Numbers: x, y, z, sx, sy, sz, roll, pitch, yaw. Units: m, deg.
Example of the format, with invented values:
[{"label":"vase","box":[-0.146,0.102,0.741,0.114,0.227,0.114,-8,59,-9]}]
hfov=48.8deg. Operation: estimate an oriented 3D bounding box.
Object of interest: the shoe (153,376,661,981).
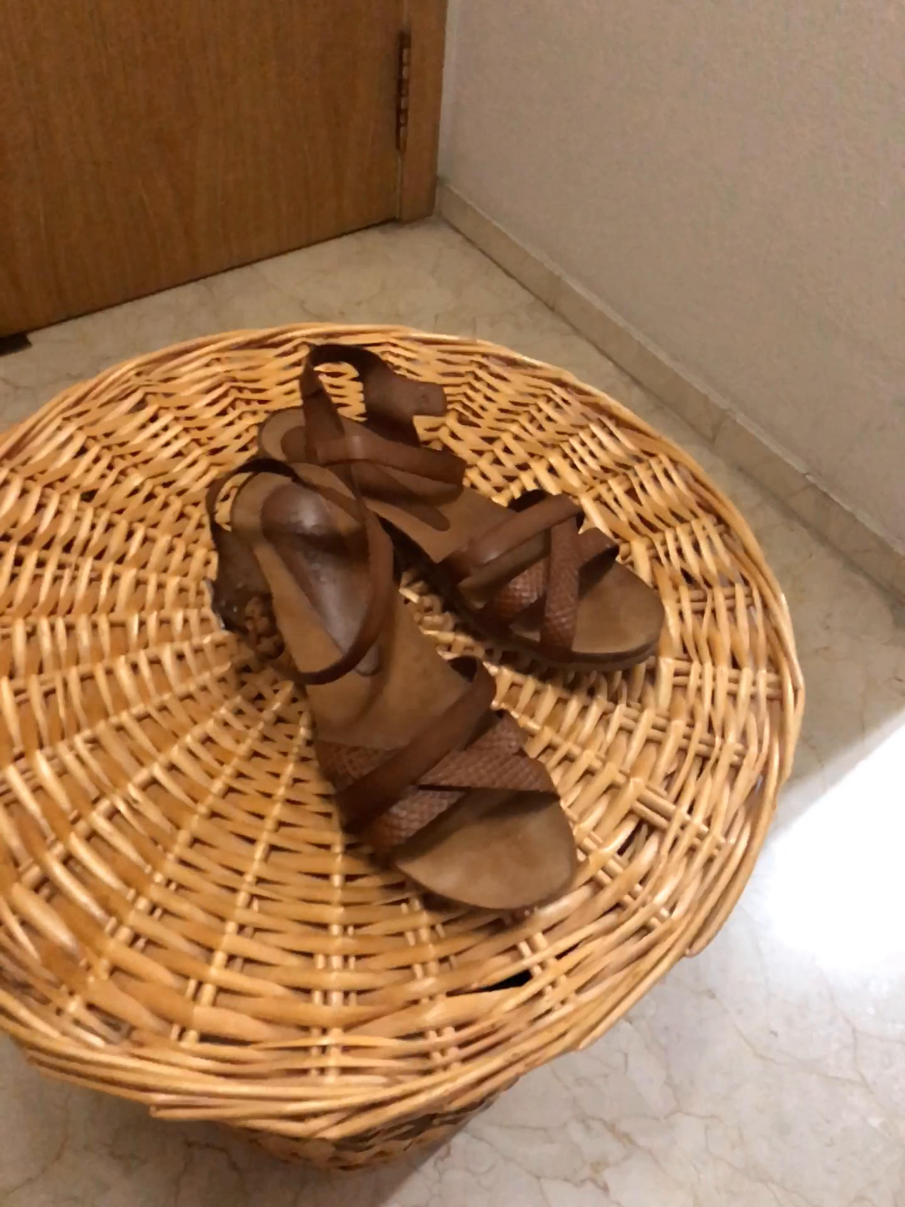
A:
[{"label":"shoe","box":[-0.034,0.024,0.486,0.100,0.070,0.280,-26,67,-24]}]

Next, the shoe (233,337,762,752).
[{"label":"shoe","box":[0.017,-0.043,0.561,0.280,0.060,0.100,32,55,19]}]
